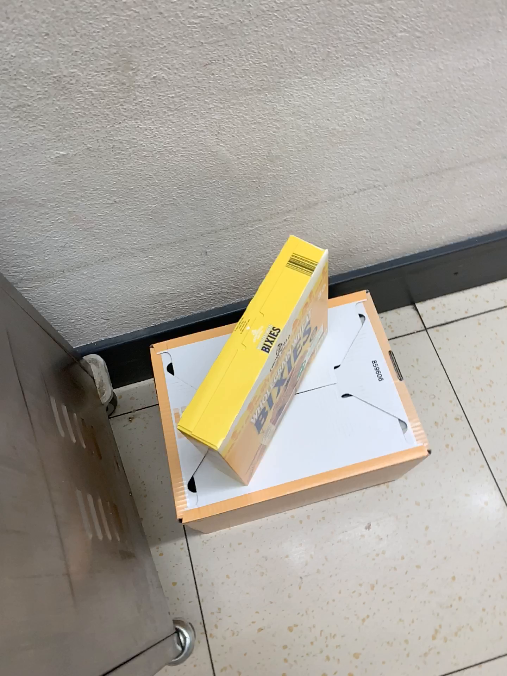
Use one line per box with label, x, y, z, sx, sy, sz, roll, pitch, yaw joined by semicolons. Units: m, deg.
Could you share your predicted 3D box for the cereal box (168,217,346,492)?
cereal box;0.018;0.041;0.698;0.070;0.279;0.291;25;70;13
